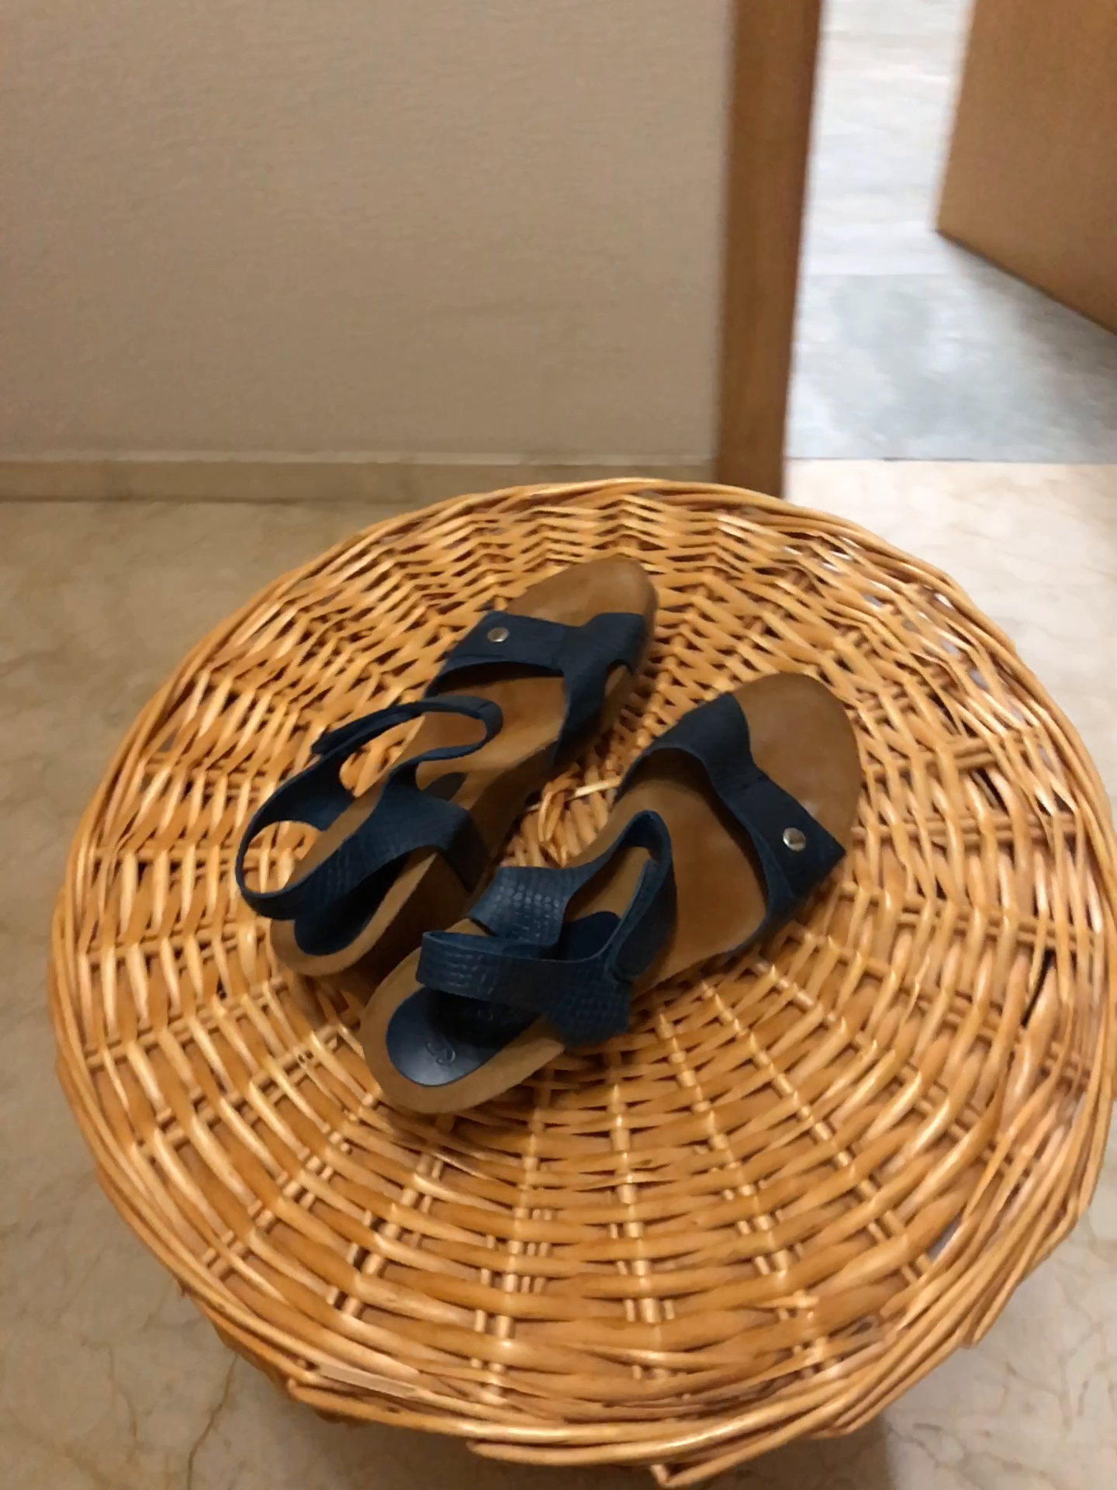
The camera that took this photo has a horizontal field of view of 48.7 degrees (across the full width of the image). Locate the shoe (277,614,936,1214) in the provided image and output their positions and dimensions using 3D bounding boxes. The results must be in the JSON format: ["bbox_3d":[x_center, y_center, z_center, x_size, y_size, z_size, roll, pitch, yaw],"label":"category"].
[{"bbox_3d":[0.030,0.059,0.524,0.280,0.060,0.090,-36,51,-20],"label":"shoe"}]

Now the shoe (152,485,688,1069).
[{"bbox_3d":[-0.048,-0.001,0.564,0.090,0.060,0.281,19,56,27],"label":"shoe"}]
